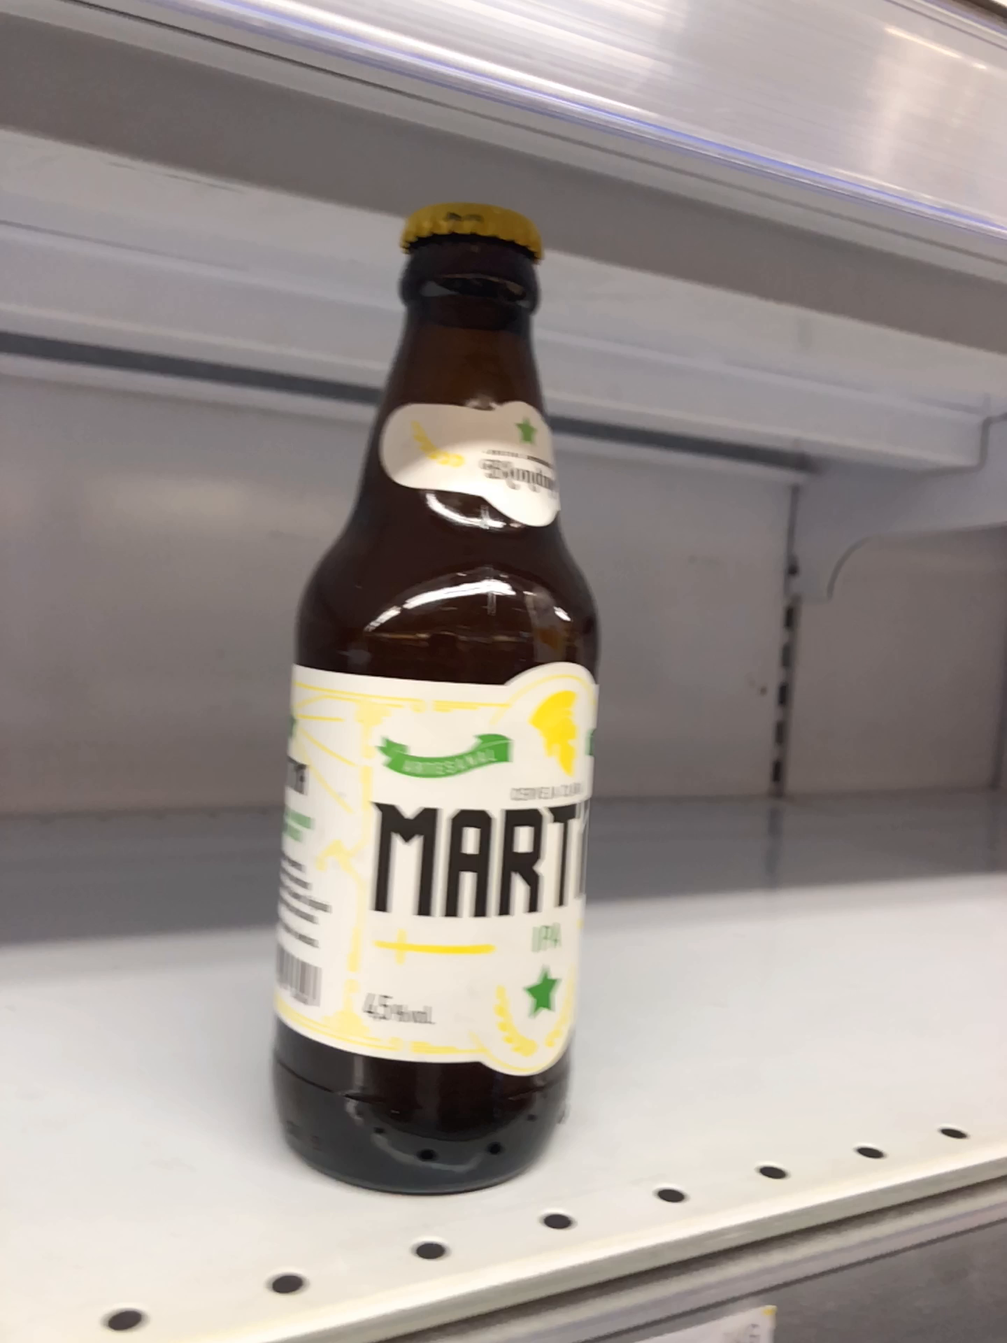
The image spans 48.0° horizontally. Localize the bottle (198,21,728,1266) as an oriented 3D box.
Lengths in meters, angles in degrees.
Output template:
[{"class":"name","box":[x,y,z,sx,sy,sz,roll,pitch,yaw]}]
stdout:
[{"class":"bottle","box":[-0.007,-0.005,0.218,0.060,0.190,0.070,6,4,38]}]
